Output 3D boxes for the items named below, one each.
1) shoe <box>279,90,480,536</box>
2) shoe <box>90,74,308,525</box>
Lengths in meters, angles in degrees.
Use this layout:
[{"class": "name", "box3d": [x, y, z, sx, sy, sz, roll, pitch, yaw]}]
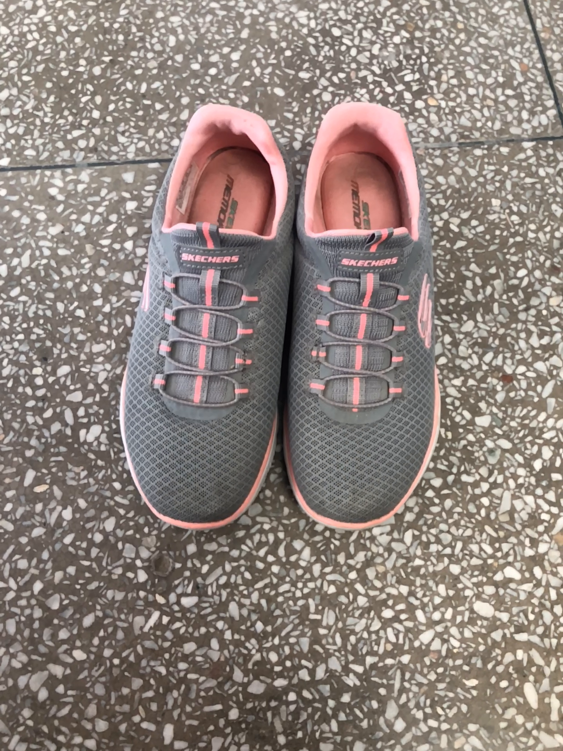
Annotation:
[{"class": "shoe", "box3d": [0.052, -0.029, 0.362, 0.090, 0.100, 0.230, 4, 76, 0]}, {"class": "shoe", "box3d": [-0.039, -0.038, 0.372, 0.090, 0.100, 0.240, 4, 76, 0]}]
